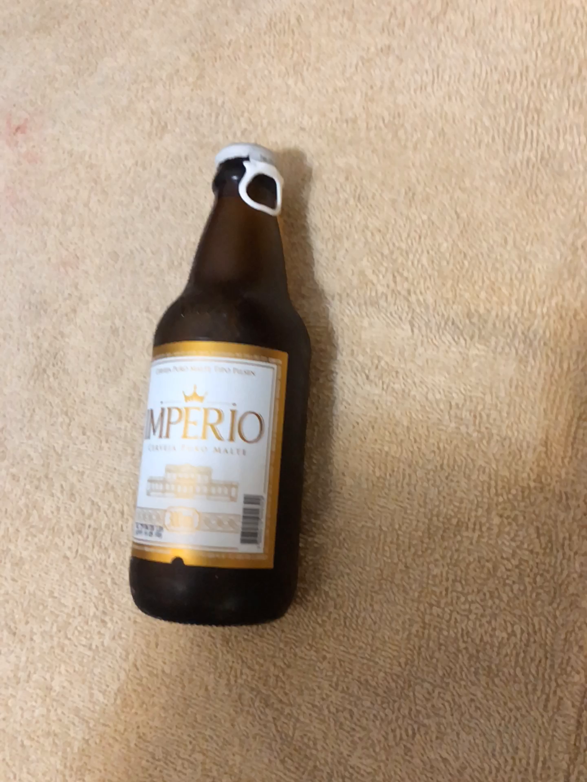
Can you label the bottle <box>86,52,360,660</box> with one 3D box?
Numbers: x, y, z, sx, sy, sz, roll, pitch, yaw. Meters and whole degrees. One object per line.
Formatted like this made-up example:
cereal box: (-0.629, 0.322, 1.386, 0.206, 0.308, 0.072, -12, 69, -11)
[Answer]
bottle: (-0.019, -0.012, 0.238, 0.060, 0.060, 0.190, -2, 78, 27)
